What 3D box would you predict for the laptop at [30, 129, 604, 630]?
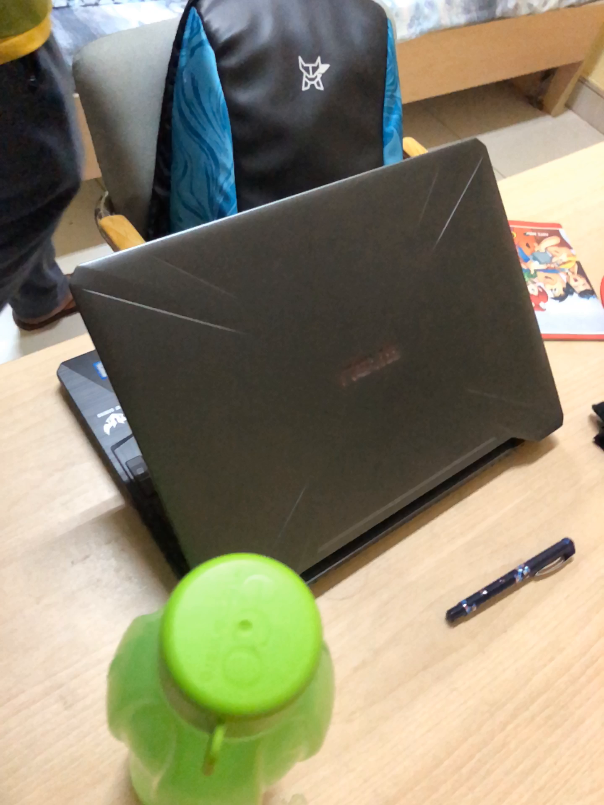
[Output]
[{"bbox_3d":[0.025,-0.044,0.501,0.340,0.147,0.248,-26,62,-27],"label":"laptop"}]
